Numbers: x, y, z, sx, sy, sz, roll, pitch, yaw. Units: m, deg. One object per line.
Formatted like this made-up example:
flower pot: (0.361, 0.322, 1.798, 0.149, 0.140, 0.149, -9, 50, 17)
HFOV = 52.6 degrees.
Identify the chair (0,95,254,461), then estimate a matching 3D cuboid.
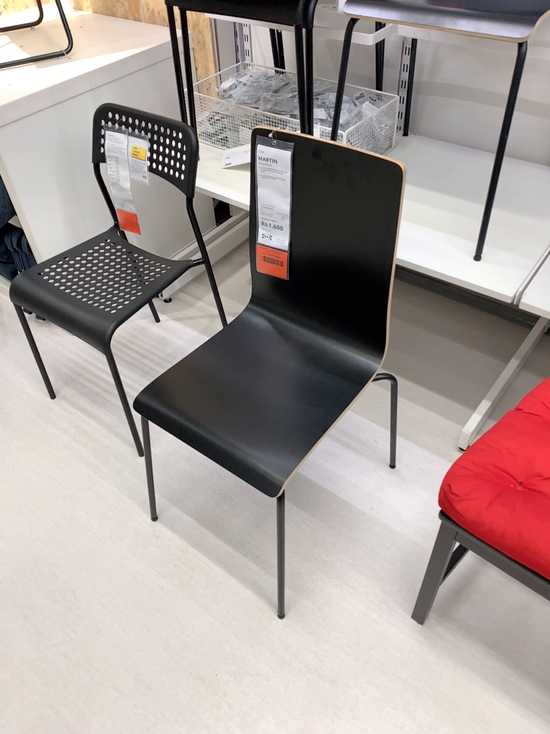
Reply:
chair: (-0.432, -0.242, 1.546, 0.471, 0.727, 0.531, 27, 53, 26)

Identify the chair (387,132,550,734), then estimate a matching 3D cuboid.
chair: (0.545, 0.184, 0.907, 0.451, 0.857, 0.481, 28, 54, 27)

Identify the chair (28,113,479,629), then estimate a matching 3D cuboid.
chair: (0.004, 0.022, 1.213, 0.481, 0.827, 0.591, 27, 53, 27)
